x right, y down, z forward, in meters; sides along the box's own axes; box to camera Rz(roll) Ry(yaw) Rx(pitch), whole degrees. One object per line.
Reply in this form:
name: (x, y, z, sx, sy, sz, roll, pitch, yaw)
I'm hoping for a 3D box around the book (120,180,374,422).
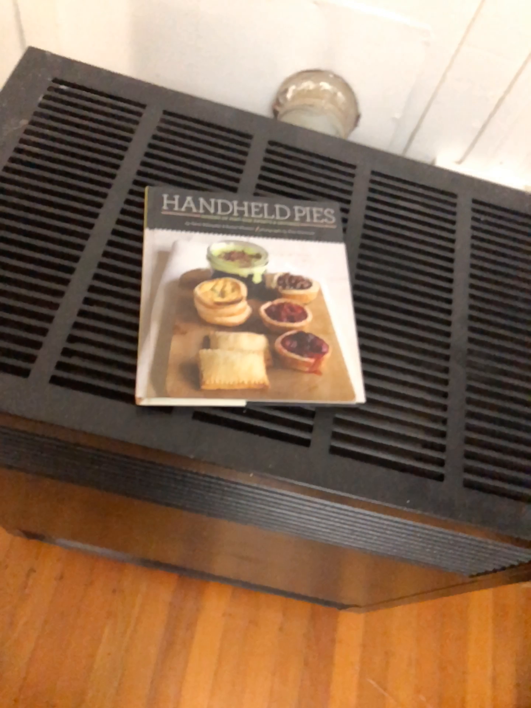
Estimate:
book: (-0.019, -0.053, 0.522, 0.200, 0.020, 0.231, 2, 62, -10)
